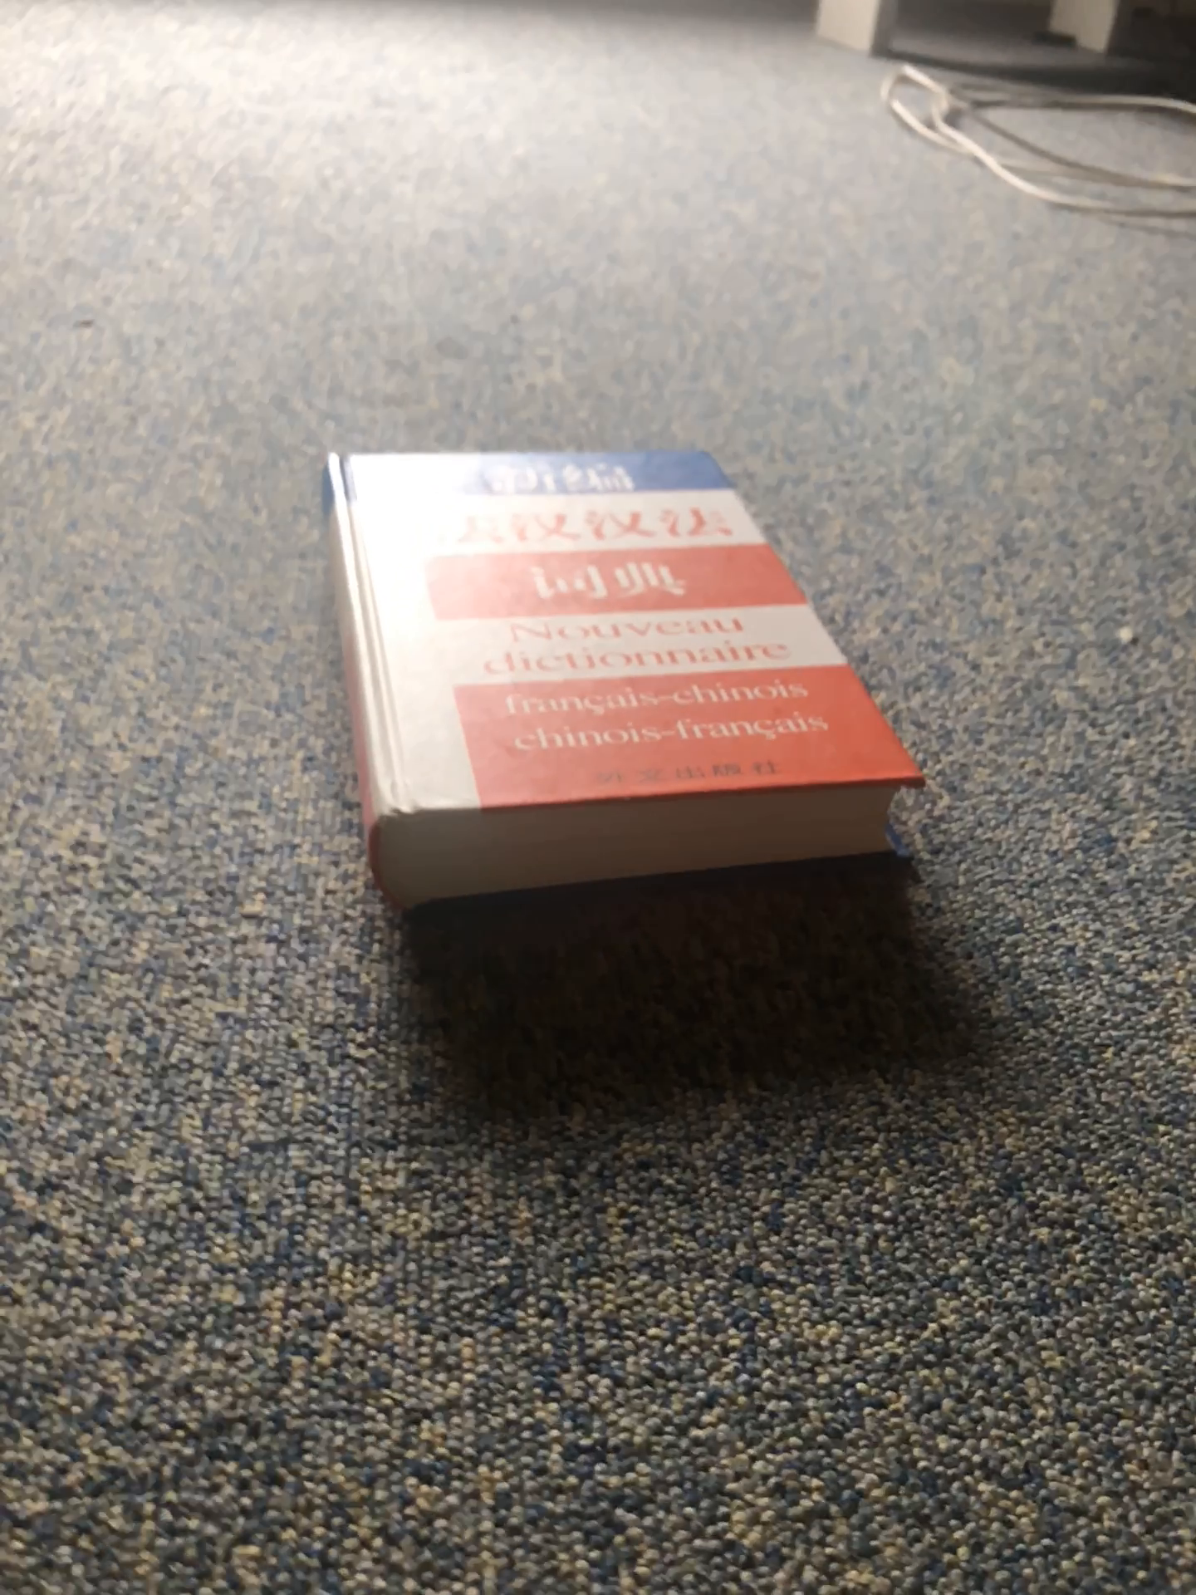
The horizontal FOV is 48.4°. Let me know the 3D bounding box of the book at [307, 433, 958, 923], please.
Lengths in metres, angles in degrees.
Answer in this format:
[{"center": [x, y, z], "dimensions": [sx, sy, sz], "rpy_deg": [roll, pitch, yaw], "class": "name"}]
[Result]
[{"center": [-0.006, -0.053, 0.414], "dimensions": [0.153, 0.034, 0.209], "rpy_deg": [-4, 39, -13], "class": "book"}]
